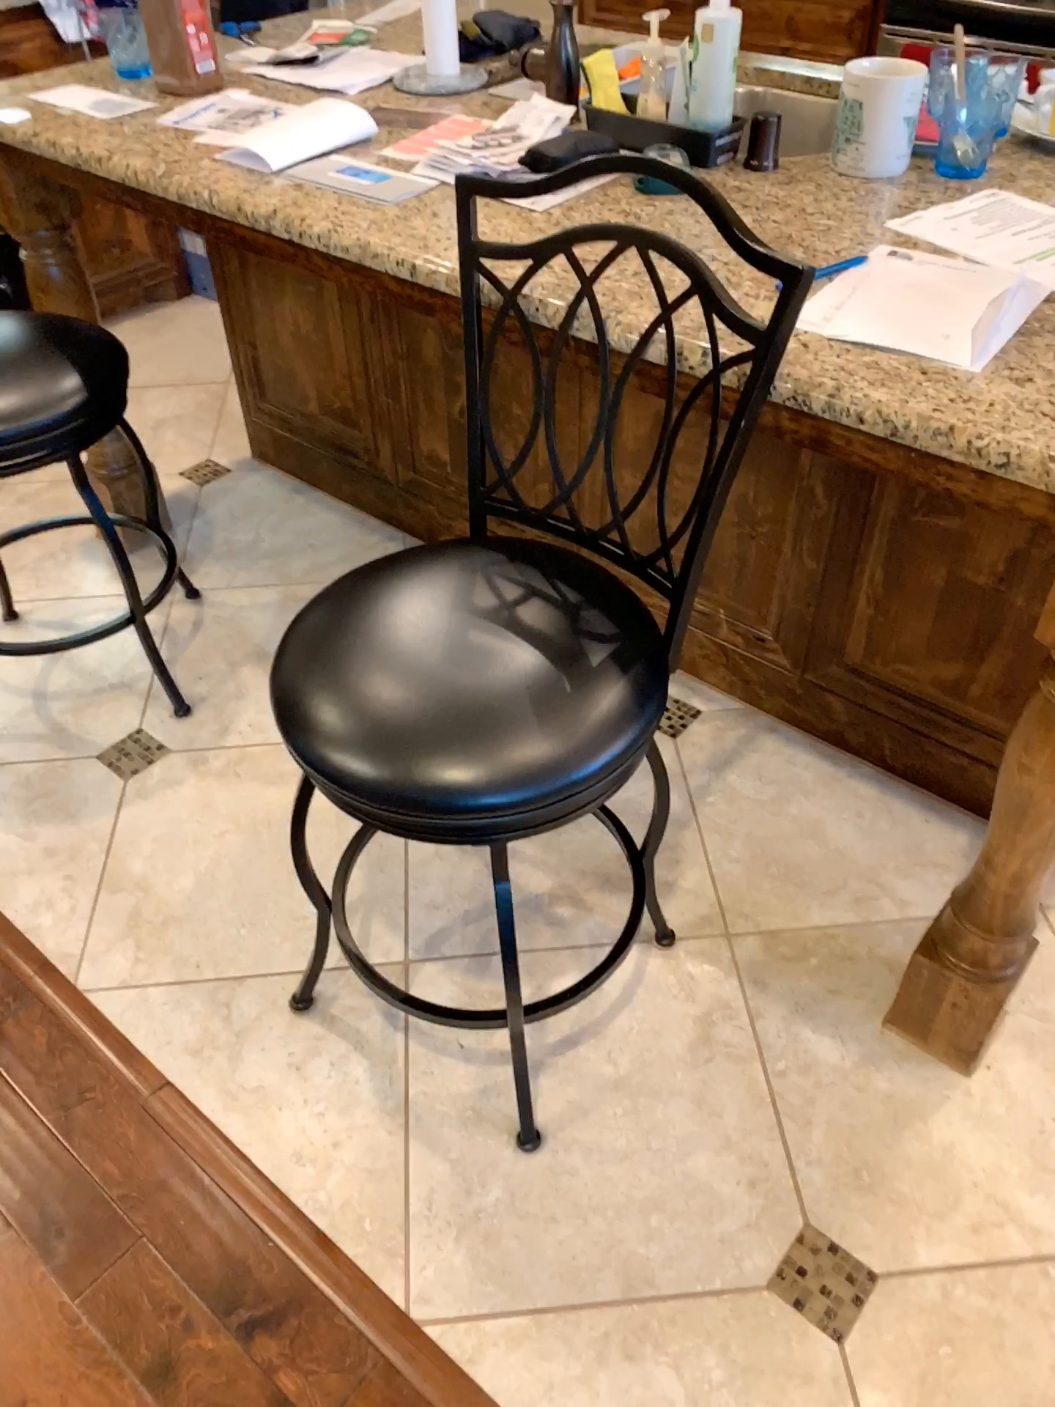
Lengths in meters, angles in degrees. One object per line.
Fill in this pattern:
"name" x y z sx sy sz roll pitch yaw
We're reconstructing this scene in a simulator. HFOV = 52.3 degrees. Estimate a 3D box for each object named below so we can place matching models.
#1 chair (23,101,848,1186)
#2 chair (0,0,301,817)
"chair" -0.050 -0.016 1.249 0.469 1.068 0.506 26 49 27
"chair" -0.855 -0.491 1.714 0.556 1.098 0.589 31 52 31
